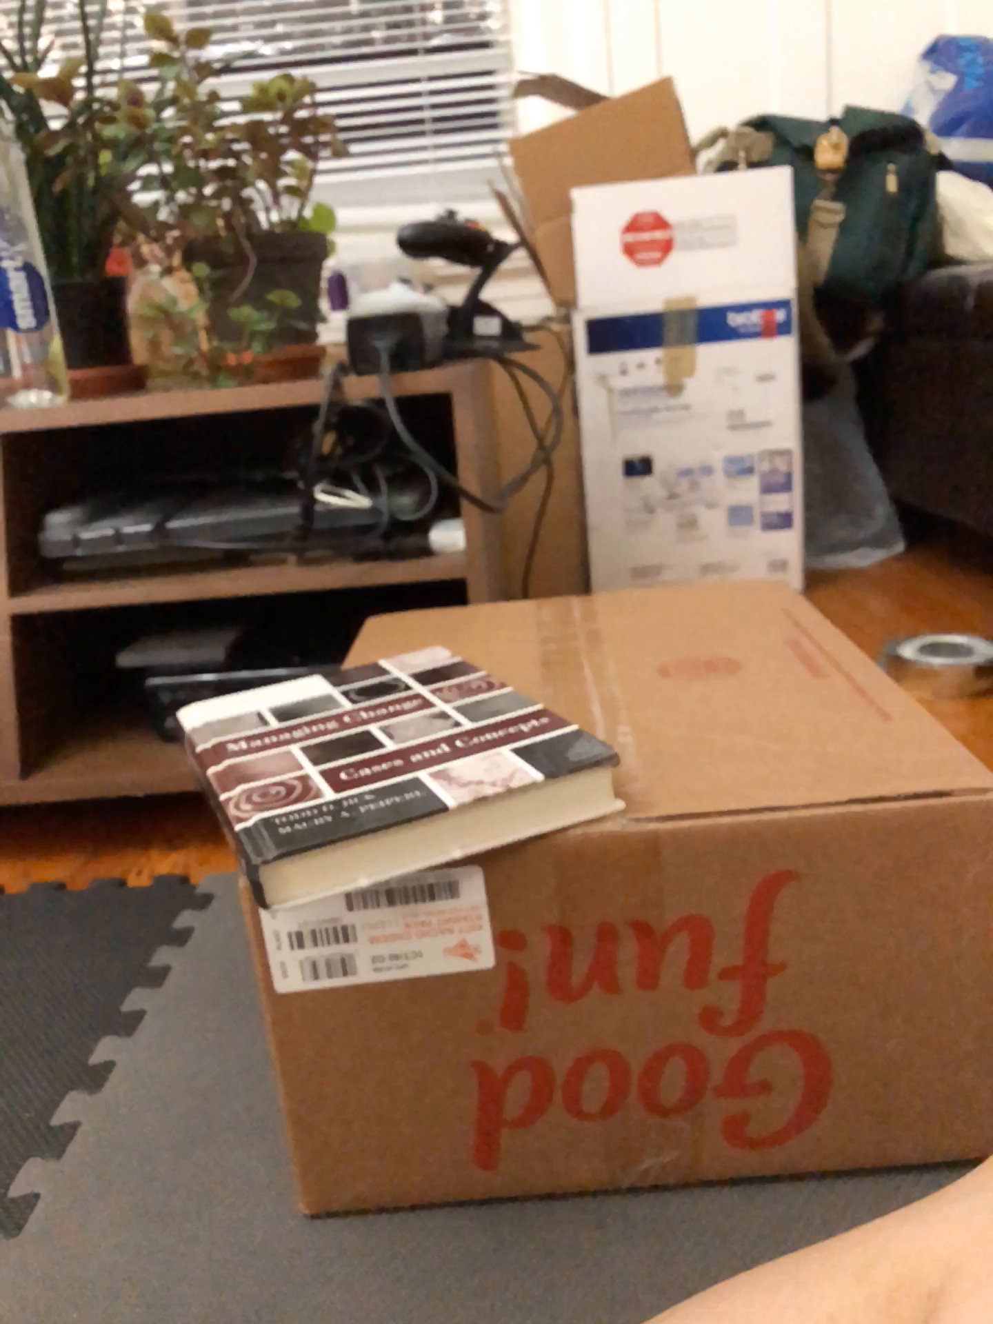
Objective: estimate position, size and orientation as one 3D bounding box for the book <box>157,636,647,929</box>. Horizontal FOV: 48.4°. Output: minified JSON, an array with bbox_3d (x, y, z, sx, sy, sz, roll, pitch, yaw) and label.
[{"bbox_3d":[-0.065,0.044,0.573,0.180,0.030,0.251,-12,18,-21],"label":"book"}]
